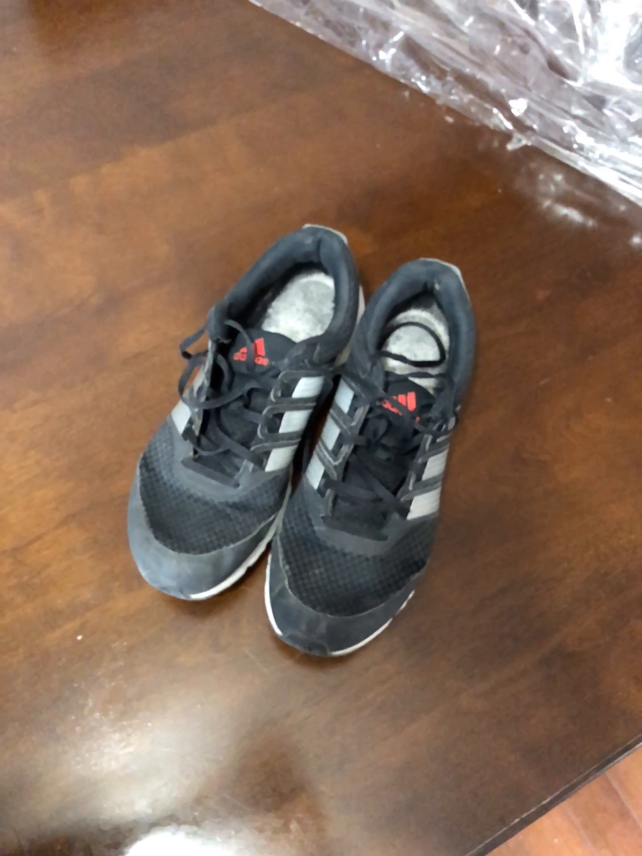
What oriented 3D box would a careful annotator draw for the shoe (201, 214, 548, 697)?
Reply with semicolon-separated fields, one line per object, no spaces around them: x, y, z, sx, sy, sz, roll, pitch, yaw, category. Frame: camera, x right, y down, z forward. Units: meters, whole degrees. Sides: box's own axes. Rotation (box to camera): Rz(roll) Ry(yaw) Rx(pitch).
0.042;0.018;0.504;0.120;0.130;0.290;22;67;7;shoe

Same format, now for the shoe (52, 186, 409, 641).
-0.050;-0.013;0.528;0.120;0.120;0.290;22;67;7;shoe
